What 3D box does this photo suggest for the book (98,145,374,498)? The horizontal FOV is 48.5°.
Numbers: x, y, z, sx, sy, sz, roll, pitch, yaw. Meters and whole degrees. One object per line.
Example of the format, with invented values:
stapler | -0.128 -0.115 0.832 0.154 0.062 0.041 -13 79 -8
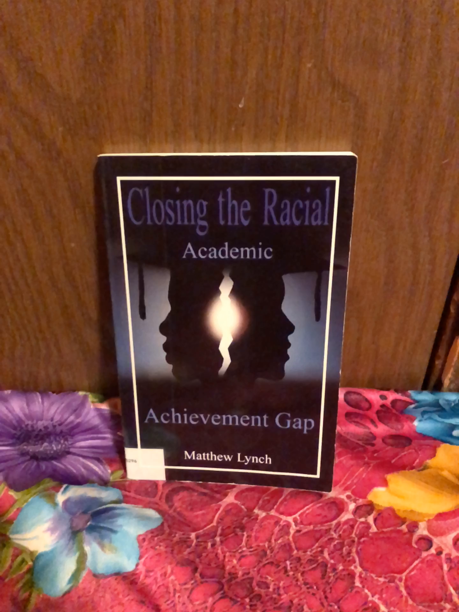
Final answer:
book | 0.004 0.018 0.328 0.146 0.230 0.036 1 22 3
